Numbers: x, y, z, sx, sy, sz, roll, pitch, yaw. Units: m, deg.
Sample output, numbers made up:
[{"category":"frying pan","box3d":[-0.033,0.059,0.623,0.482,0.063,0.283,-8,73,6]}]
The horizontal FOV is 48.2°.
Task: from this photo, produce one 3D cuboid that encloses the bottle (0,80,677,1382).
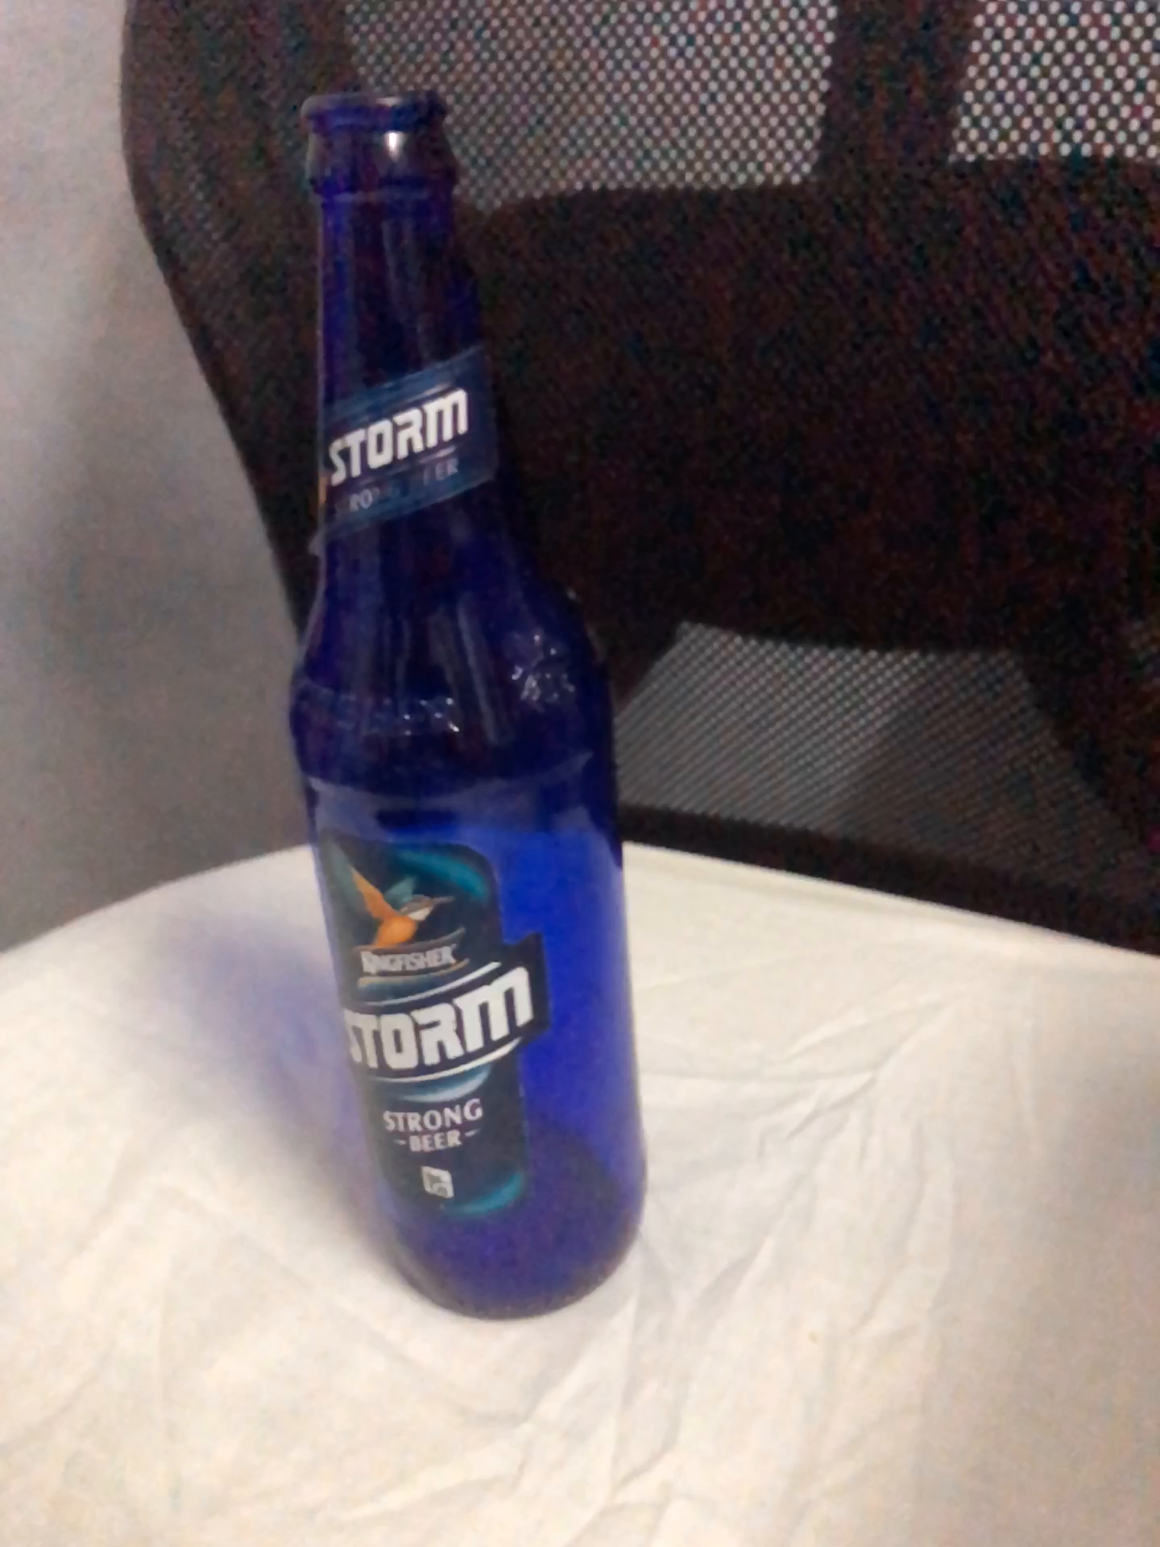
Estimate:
[{"category":"bottle","box3d":[-0.031,0.003,0.274,0.080,0.259,0.070,10,32,22]}]
